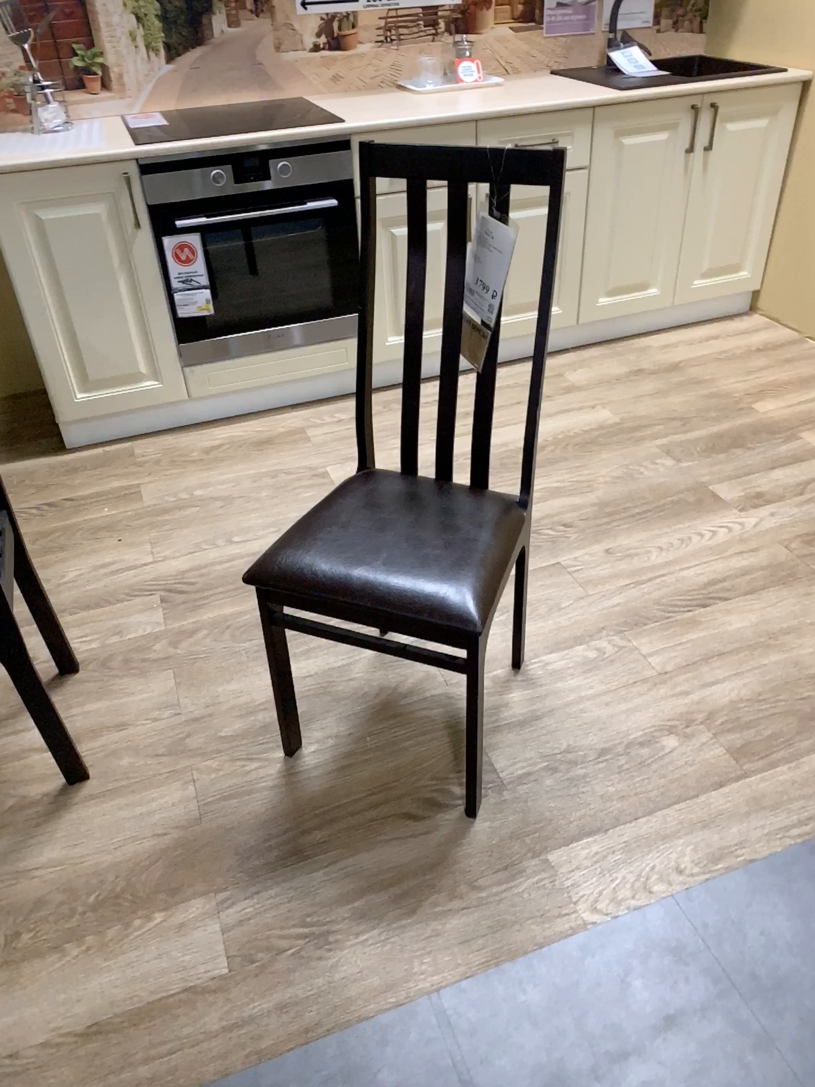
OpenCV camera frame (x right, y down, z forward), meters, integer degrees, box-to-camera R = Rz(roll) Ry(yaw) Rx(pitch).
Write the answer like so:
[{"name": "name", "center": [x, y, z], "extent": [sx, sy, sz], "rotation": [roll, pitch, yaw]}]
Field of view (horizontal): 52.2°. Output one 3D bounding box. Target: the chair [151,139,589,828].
[{"name": "chair", "center": [0.002, -0.089, 1.398], "extent": [0.420, 0.985, 0.493], "rotation": [12, 38, 20]}]
